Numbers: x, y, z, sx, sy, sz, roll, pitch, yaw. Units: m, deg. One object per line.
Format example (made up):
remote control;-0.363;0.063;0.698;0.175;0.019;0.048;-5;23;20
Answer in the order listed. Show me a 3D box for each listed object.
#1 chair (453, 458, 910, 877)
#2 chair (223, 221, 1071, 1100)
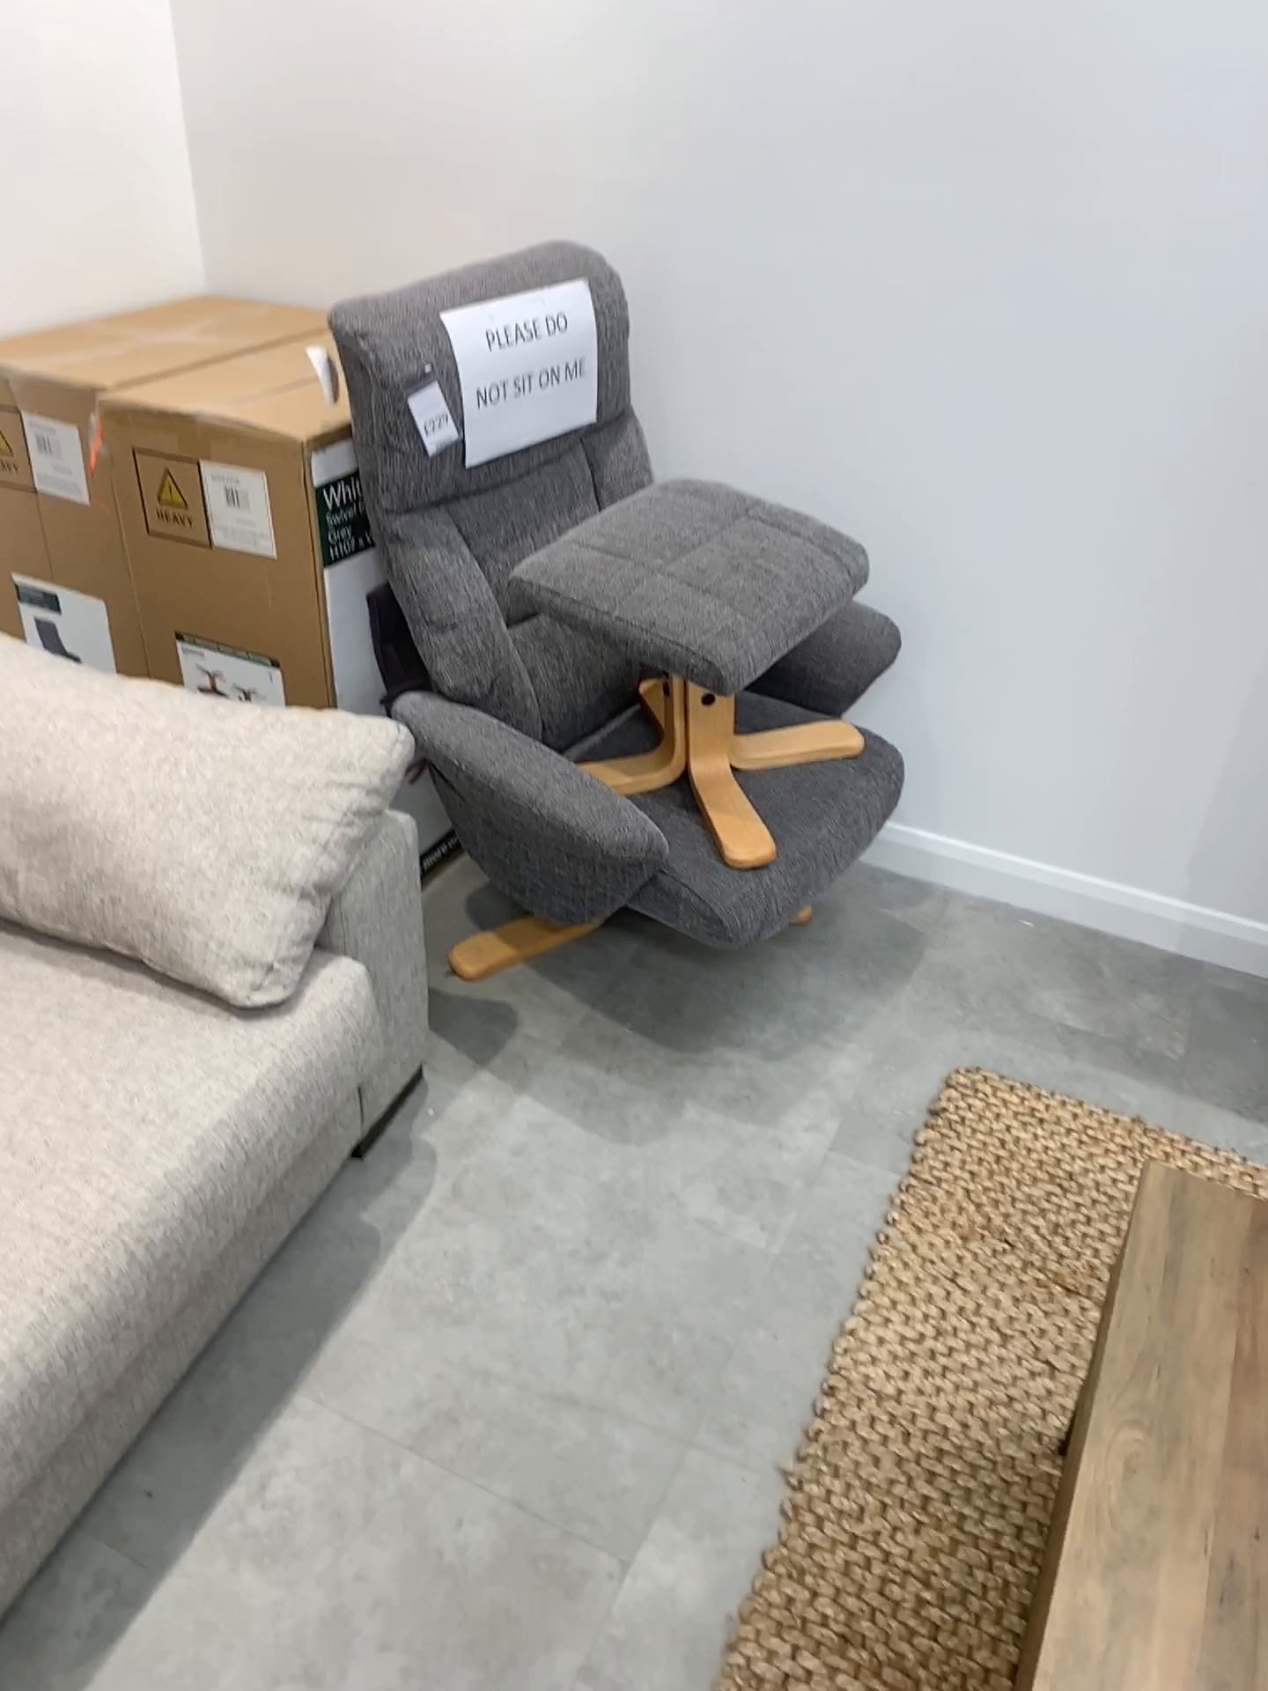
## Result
chair;0.075;-0.289;1.878;0.446;0.352;0.500;20;37;25
chair;0.050;-0.362;1.939;0.787;0.896;0.872;20;37;25
